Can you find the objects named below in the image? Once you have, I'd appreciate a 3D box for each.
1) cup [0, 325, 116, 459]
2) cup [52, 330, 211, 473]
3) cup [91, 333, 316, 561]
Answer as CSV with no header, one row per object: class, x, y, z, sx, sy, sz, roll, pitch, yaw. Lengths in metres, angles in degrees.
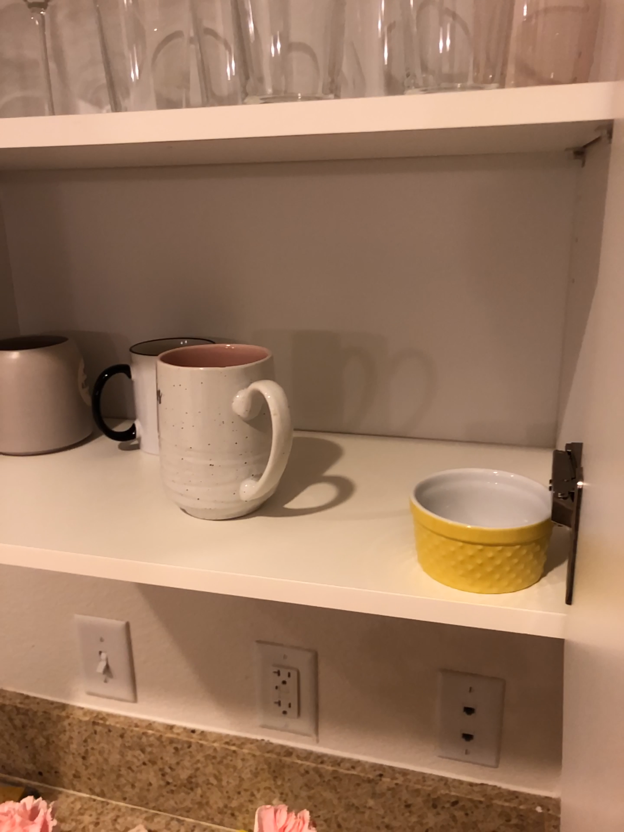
cup,-0.277,-0.030,0.666,0.110,0.090,0.151,1,17,9
cup,-0.157,-0.018,0.599,0.110,0.090,0.090,-9,19,-24
cup,-0.077,0.011,0.484,0.090,0.110,0.140,-14,21,-37
